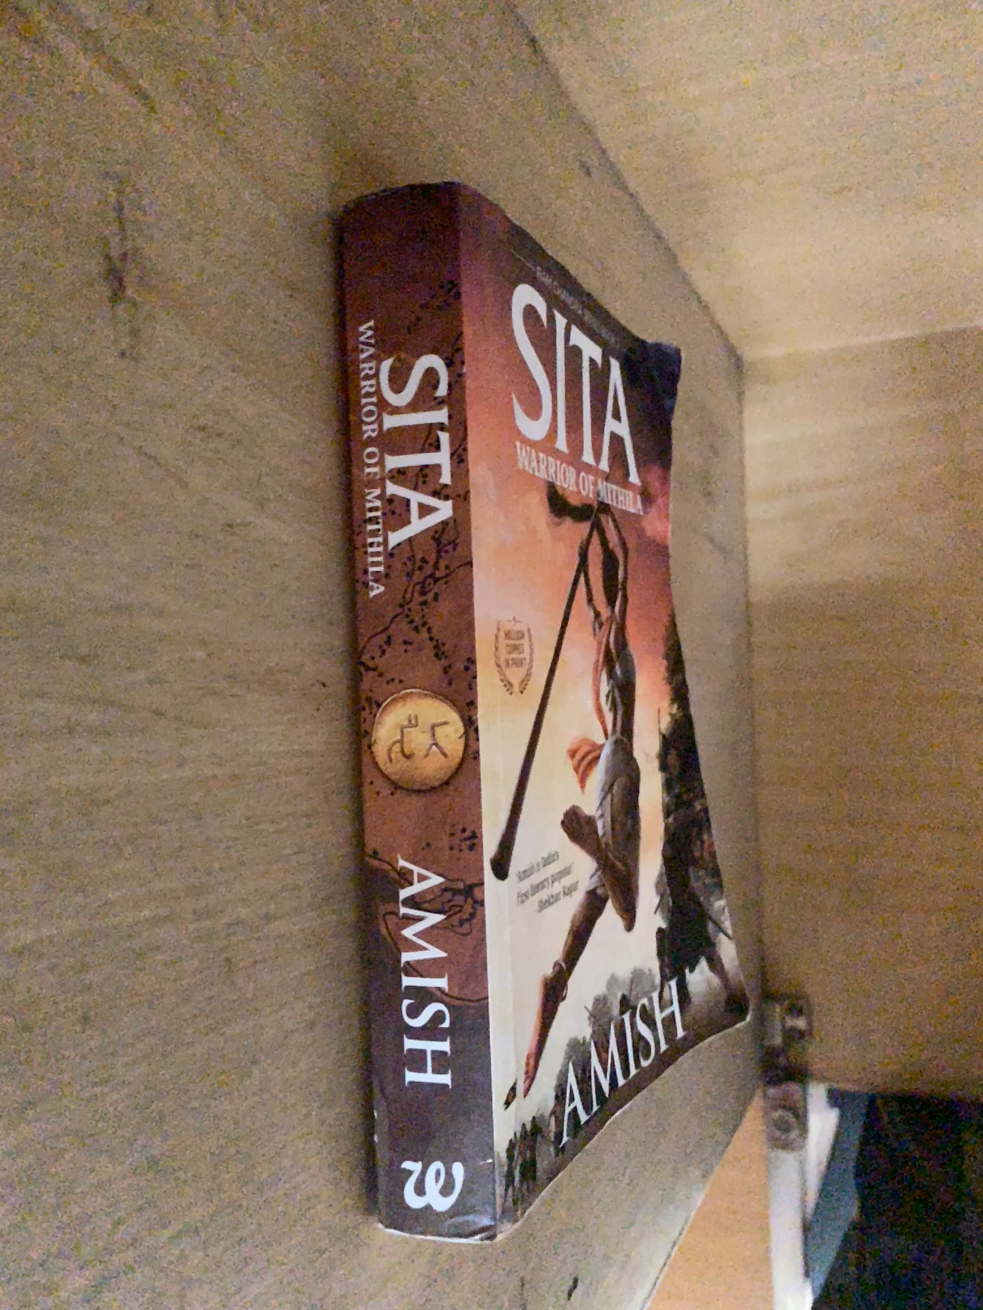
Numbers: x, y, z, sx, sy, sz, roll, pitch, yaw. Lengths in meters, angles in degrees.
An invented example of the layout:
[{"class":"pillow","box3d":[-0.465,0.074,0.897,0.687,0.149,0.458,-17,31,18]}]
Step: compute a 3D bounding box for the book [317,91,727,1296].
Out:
[{"class":"book","box3d":[0.018,0.005,0.240,0.141,0.030,0.200,-1,88,-63]}]
